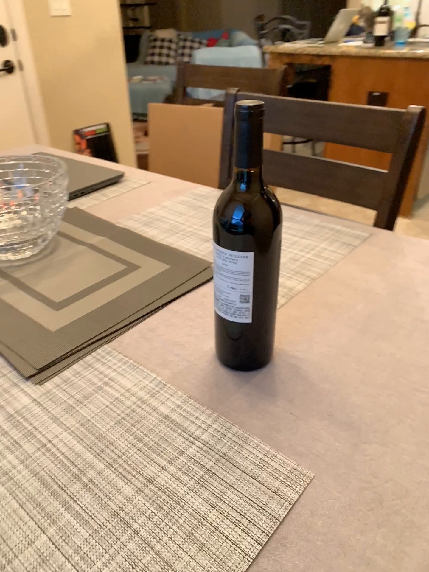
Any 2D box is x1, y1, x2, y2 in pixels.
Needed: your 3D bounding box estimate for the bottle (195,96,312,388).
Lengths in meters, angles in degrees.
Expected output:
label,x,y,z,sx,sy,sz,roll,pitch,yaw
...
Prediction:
label,x,y,z,sx,sy,sz,roll,pitch,yaw
bottle,0.041,-0.039,0.506,0.080,0.314,0.080,-1,31,1
